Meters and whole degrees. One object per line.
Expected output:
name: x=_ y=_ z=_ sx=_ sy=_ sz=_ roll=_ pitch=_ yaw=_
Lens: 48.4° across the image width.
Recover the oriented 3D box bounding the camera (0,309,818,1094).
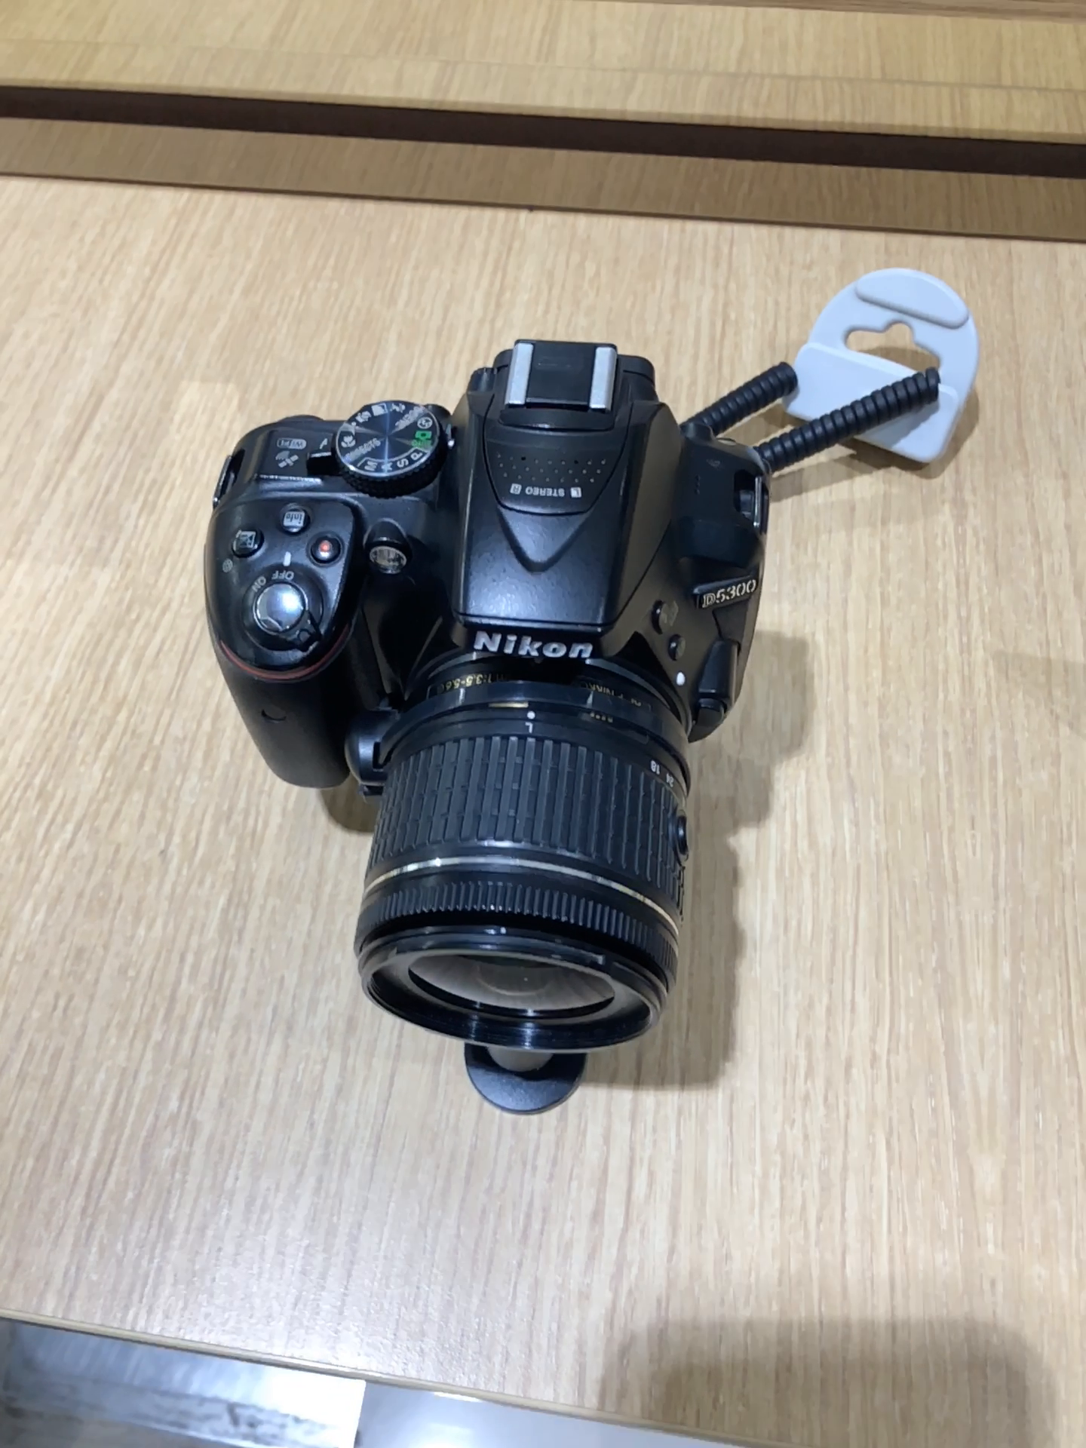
camera: x=-0.015 y=-0.002 z=0.240 sx=0.120 sy=0.102 sz=0.110 roll=4 pitch=58 yaw=5
